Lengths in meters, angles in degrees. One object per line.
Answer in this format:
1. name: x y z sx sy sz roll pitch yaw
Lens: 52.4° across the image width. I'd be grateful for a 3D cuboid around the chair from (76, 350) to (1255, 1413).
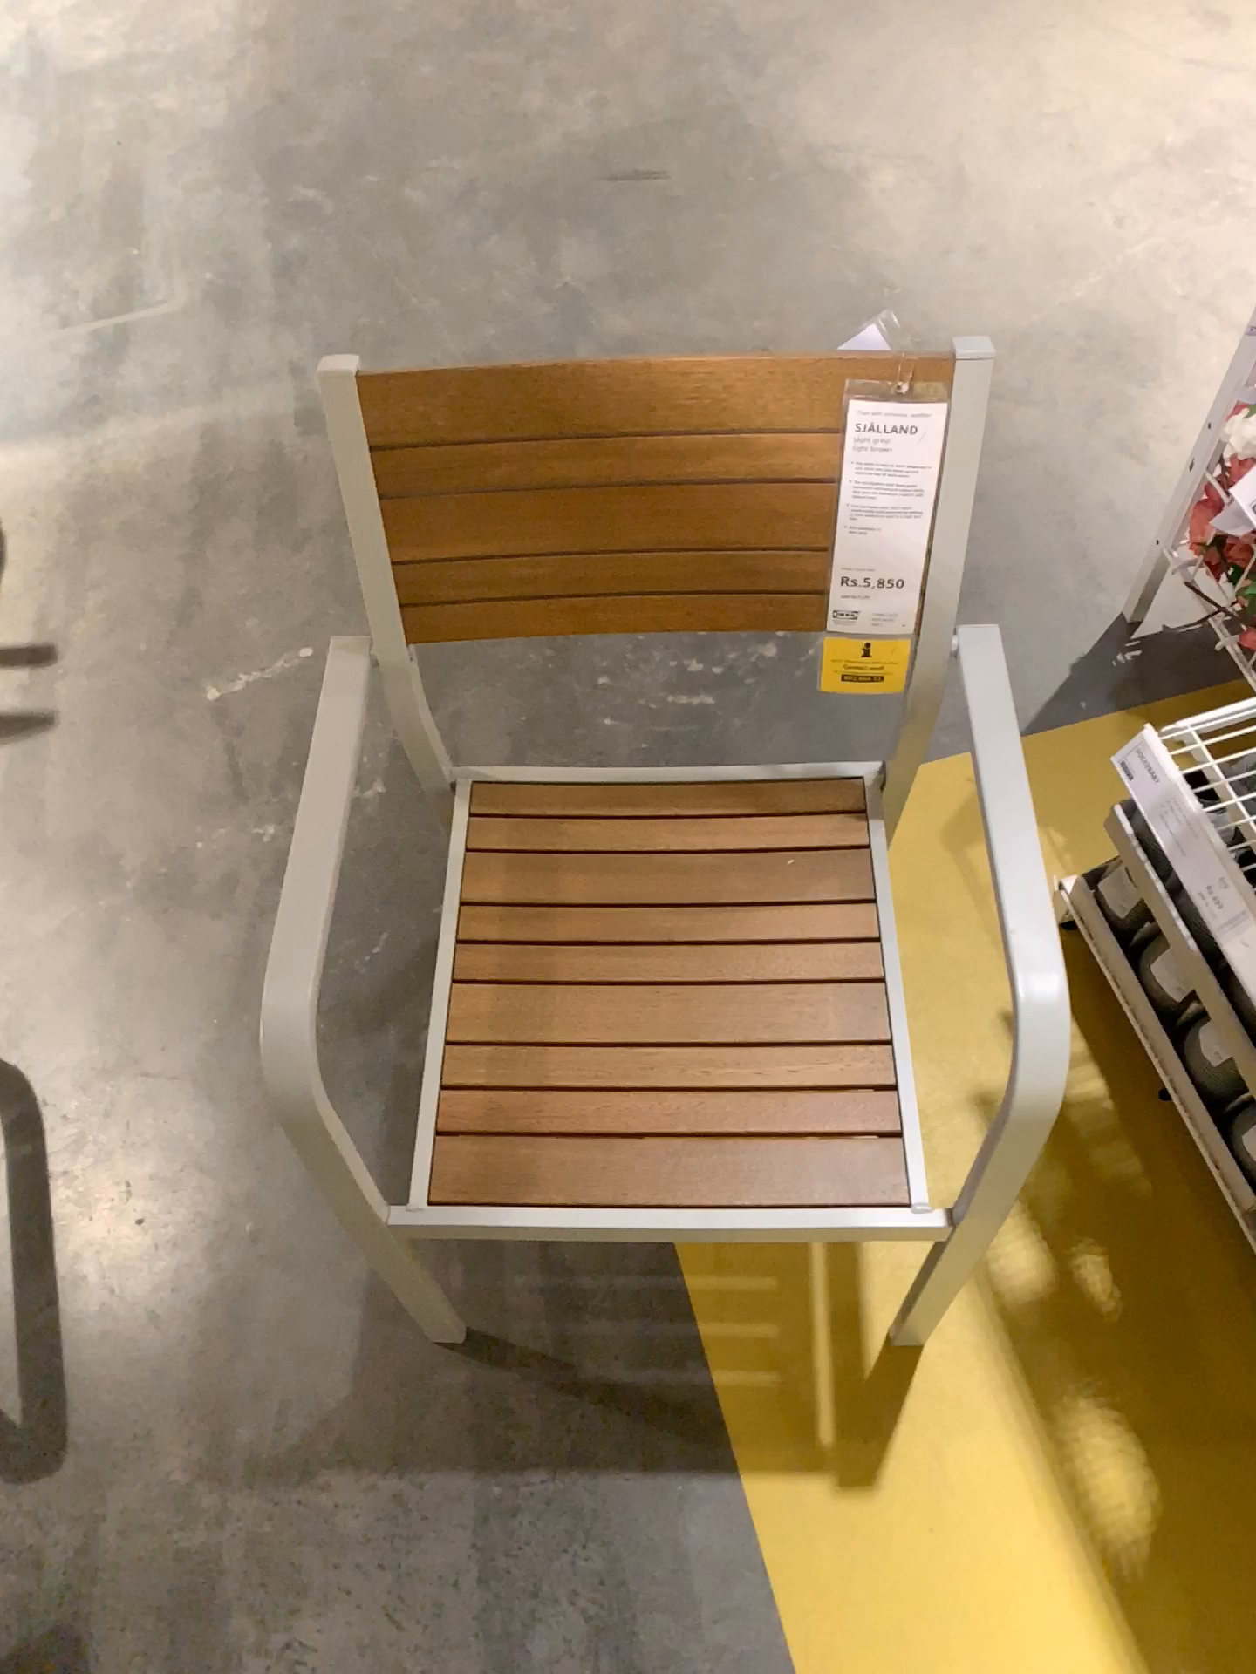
1. chair: 0.045 0.107 1.058 0.560 0.729 0.601 0 61 4
